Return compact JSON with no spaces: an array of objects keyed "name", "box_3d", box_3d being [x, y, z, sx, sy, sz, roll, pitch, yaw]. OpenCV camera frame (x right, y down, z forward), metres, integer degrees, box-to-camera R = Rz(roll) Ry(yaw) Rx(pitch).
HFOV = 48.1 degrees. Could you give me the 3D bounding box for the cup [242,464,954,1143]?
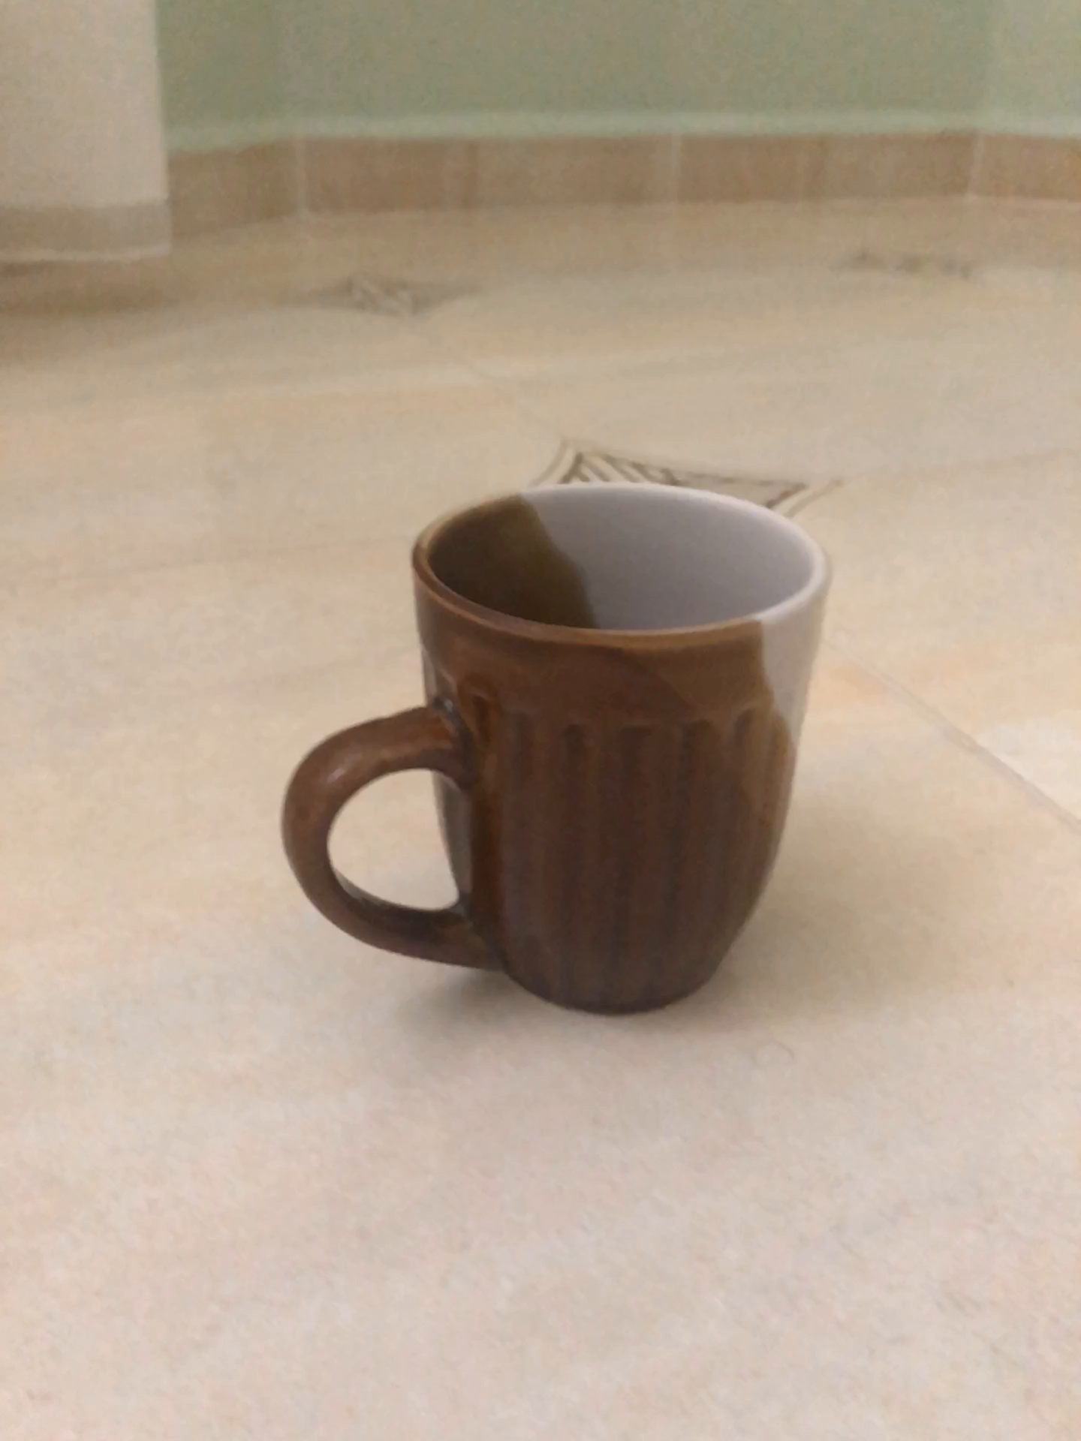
[{"name":"cup","box_3d":[0.005,0.009,0.230,0.103,0.086,0.076,-9,30,-16]}]
